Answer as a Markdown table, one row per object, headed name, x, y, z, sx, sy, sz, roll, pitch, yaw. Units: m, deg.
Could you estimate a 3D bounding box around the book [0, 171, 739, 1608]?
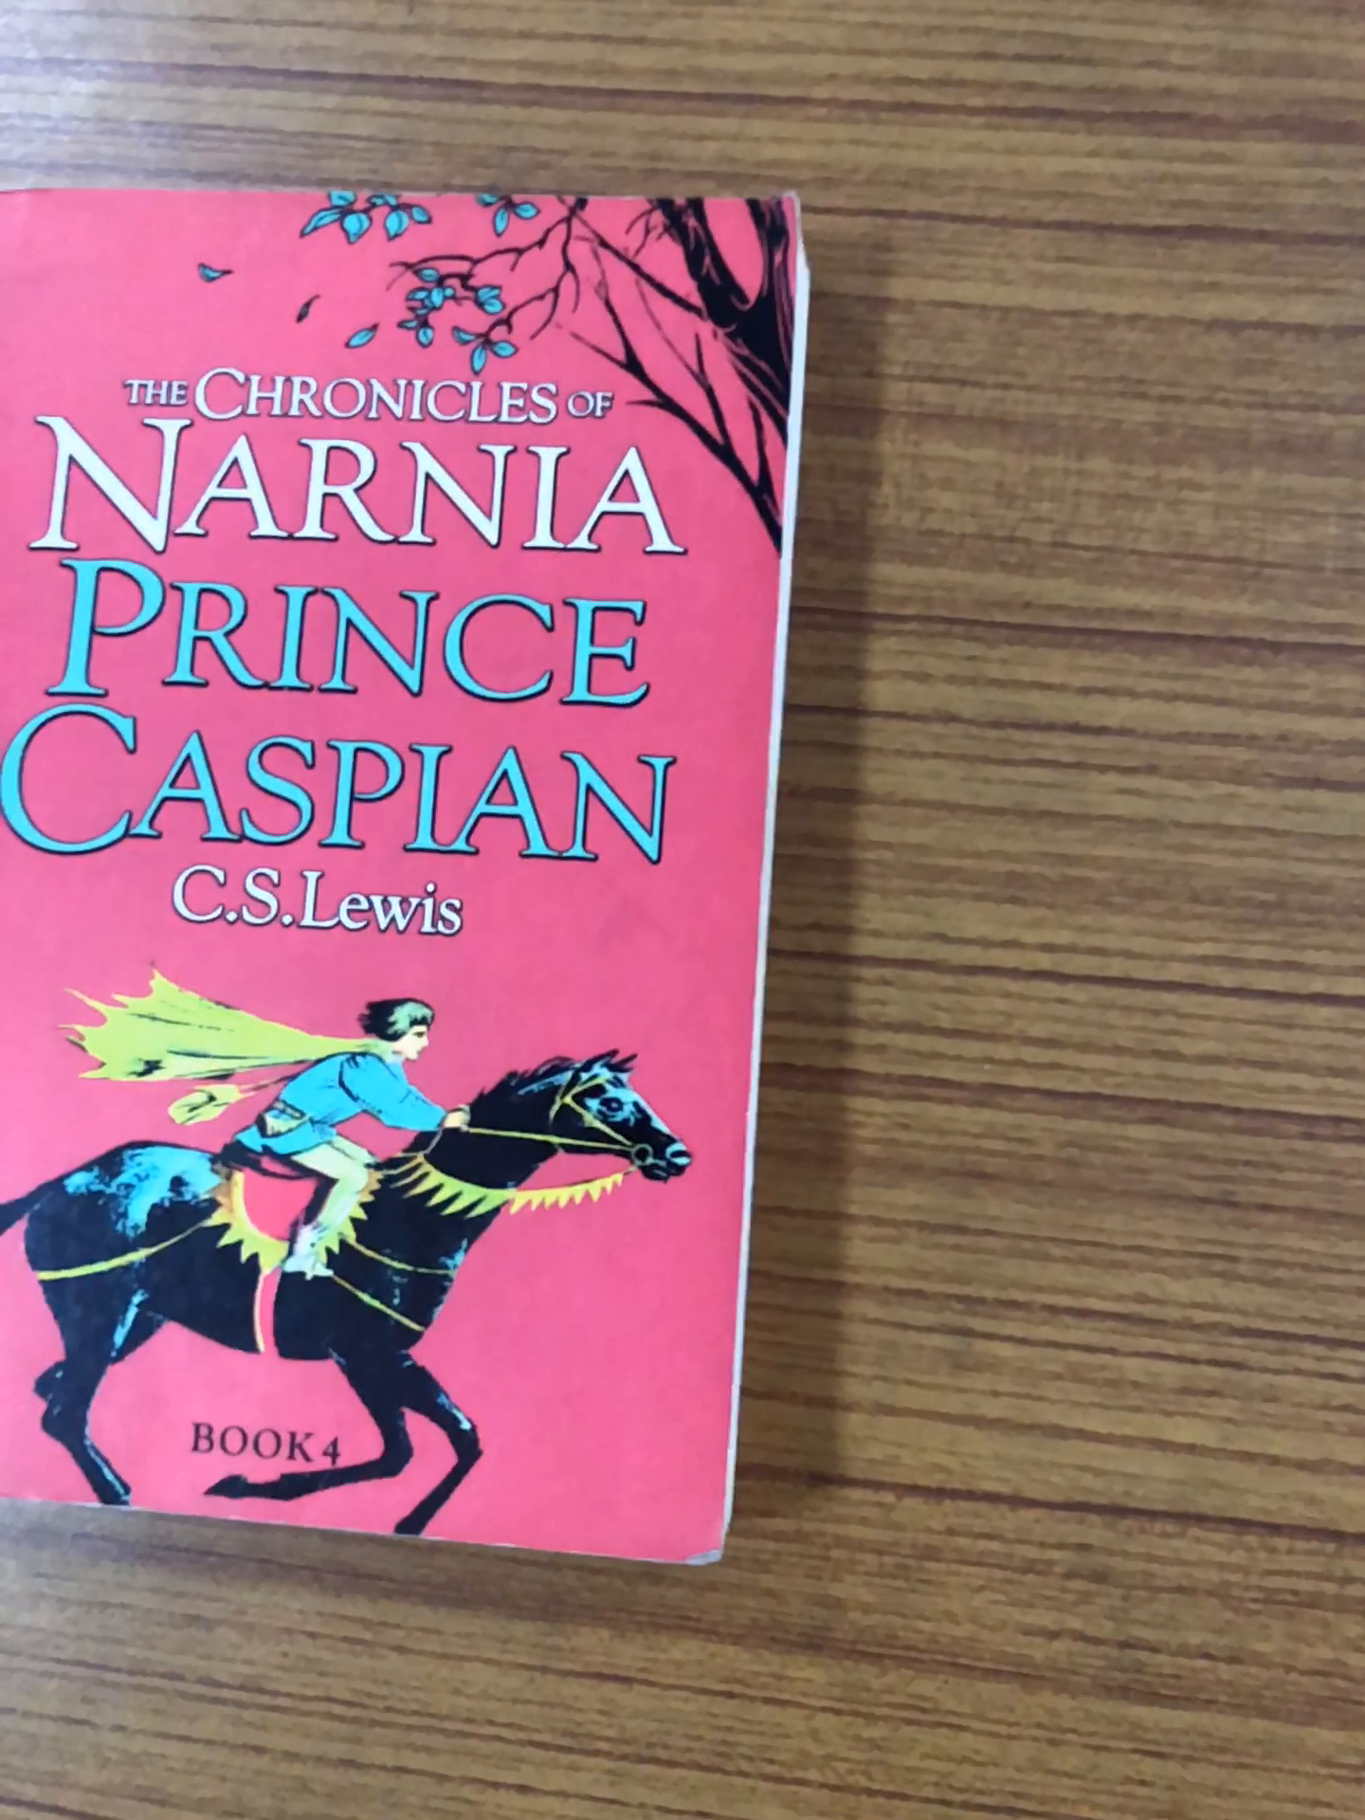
| name | x | y | z | sx | sy | sz | roll | pitch | yaw |
| --- | --- | --- | --- | --- | --- | --- | --- | --- | --- |
| book | -0.064 | -0.009 | 0.224 | 0.130 | 0.030 | 0.190 | 4 | 83 | 5 |
